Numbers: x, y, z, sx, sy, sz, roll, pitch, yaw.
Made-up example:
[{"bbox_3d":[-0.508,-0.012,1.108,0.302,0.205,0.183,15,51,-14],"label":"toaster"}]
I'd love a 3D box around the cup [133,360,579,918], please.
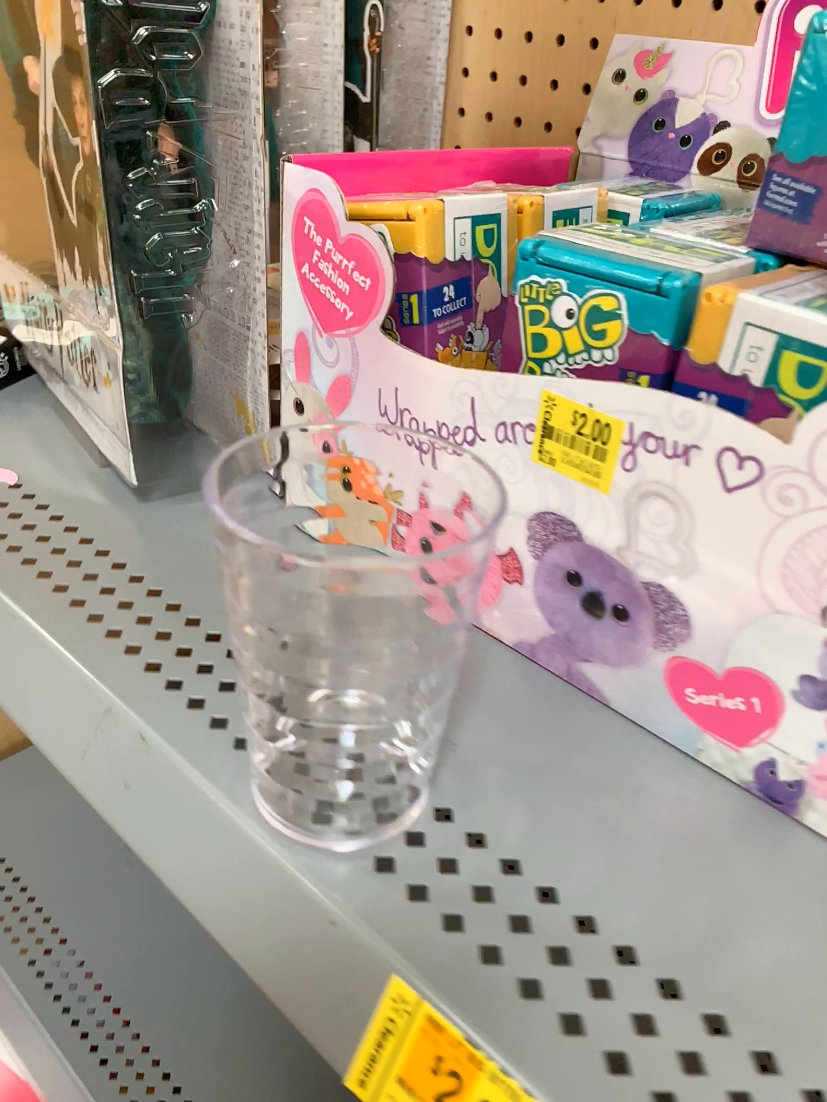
[{"bbox_3d":[-0.017,0.018,0.230,0.079,0.107,0.070,29,39,33],"label":"cup"}]
